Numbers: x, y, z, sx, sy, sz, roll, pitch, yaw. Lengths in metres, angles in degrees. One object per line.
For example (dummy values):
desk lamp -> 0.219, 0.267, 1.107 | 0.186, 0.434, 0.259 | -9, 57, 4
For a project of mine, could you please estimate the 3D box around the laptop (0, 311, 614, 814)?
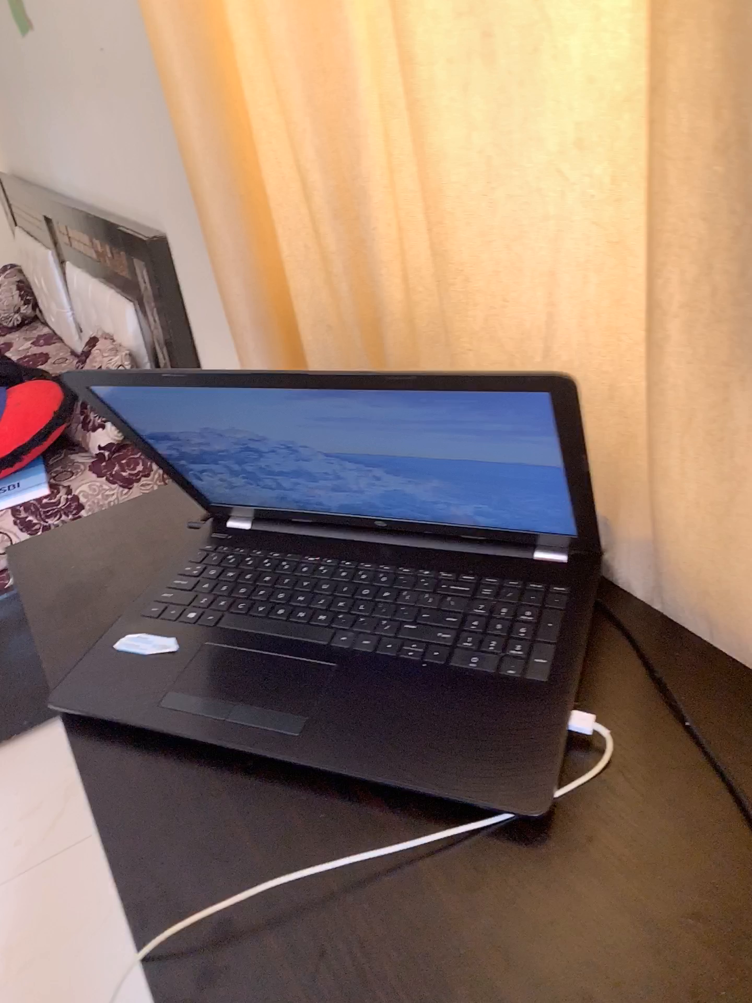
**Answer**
laptop -> -0.035, 0.012, 0.551 | 0.362, 0.201, 0.239 | 5, 35, 25
